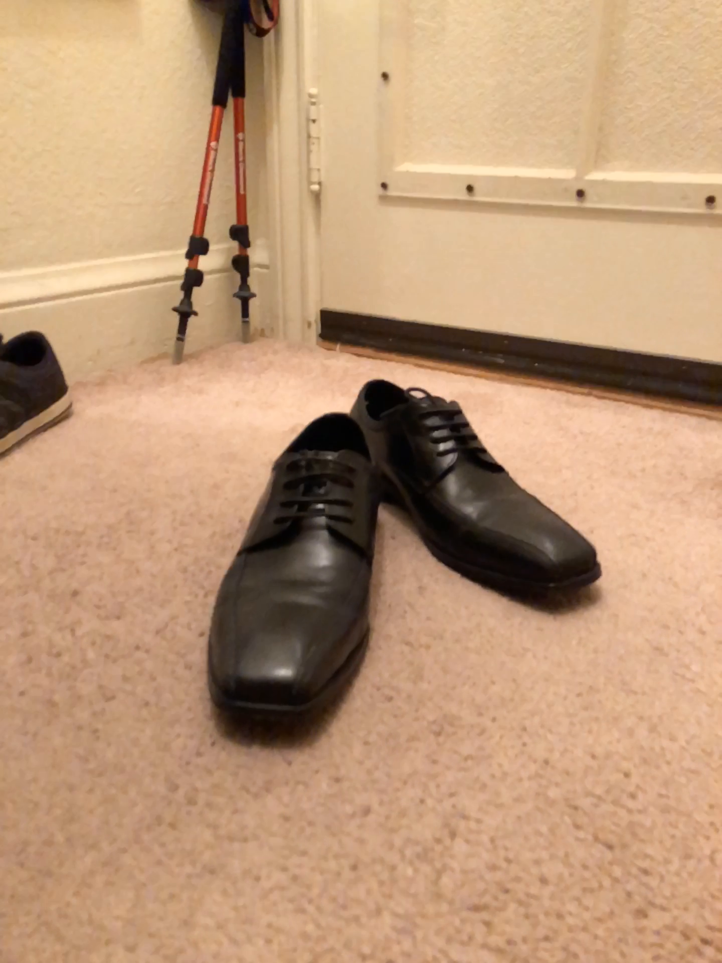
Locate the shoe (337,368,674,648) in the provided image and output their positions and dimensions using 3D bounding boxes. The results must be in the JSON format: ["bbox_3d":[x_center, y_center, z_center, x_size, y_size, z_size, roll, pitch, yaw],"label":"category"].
[{"bbox_3d":[0.098,0.001,0.668,0.115,0.110,0.298,-11,26,-26],"label":"shoe"}]

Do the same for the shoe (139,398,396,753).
[{"bbox_3d":[-0.043,0.039,0.544,0.110,0.107,0.285,3,24,6],"label":"shoe"}]
